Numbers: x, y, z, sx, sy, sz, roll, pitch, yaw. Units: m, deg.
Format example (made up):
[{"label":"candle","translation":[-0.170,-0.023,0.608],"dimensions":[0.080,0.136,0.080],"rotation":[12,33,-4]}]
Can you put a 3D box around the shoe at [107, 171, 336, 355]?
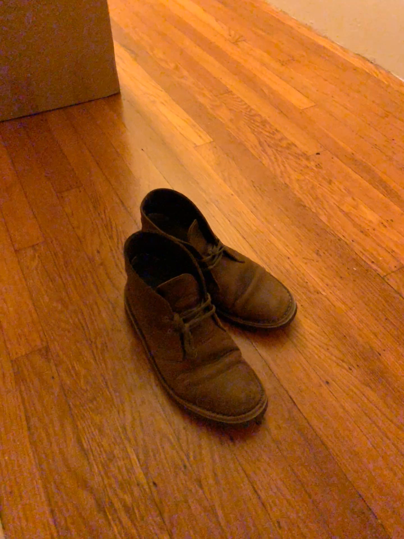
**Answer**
[{"label":"shoe","translation":[0.021,-0.018,0.622],"dimensions":[0.301,0.119,0.120],"rotation":[26,54,20]}]

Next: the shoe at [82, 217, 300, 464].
[{"label":"shoe","translation":[-0.027,0.079,0.551],"dimensions":[0.120,0.119,0.291],"rotation":[-29,56,-23]}]
